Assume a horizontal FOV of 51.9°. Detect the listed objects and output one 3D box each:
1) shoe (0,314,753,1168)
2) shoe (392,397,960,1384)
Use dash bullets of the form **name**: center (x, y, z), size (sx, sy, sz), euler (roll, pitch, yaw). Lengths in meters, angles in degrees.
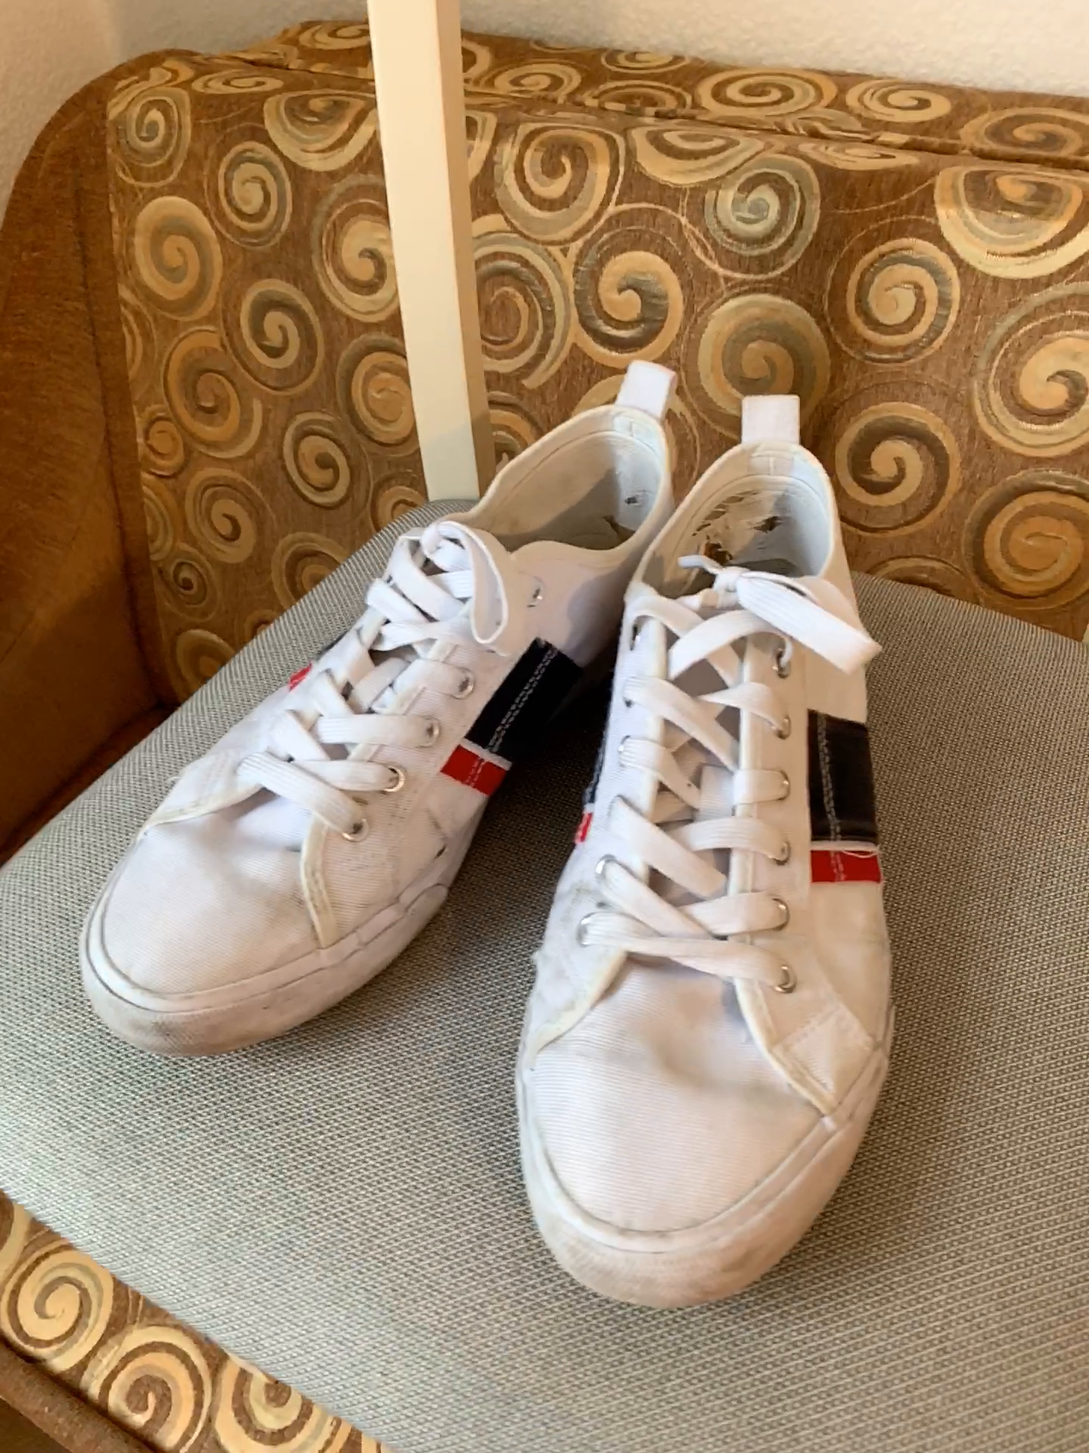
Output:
- **shoe**: center (-0.056, -0.016, 0.384), size (0.120, 0.090, 0.280), euler (28, 60, 26)
- **shoe**: center (0.052, 0.024, 0.333), size (0.110, 0.090, 0.271), euler (5, 52, 11)
